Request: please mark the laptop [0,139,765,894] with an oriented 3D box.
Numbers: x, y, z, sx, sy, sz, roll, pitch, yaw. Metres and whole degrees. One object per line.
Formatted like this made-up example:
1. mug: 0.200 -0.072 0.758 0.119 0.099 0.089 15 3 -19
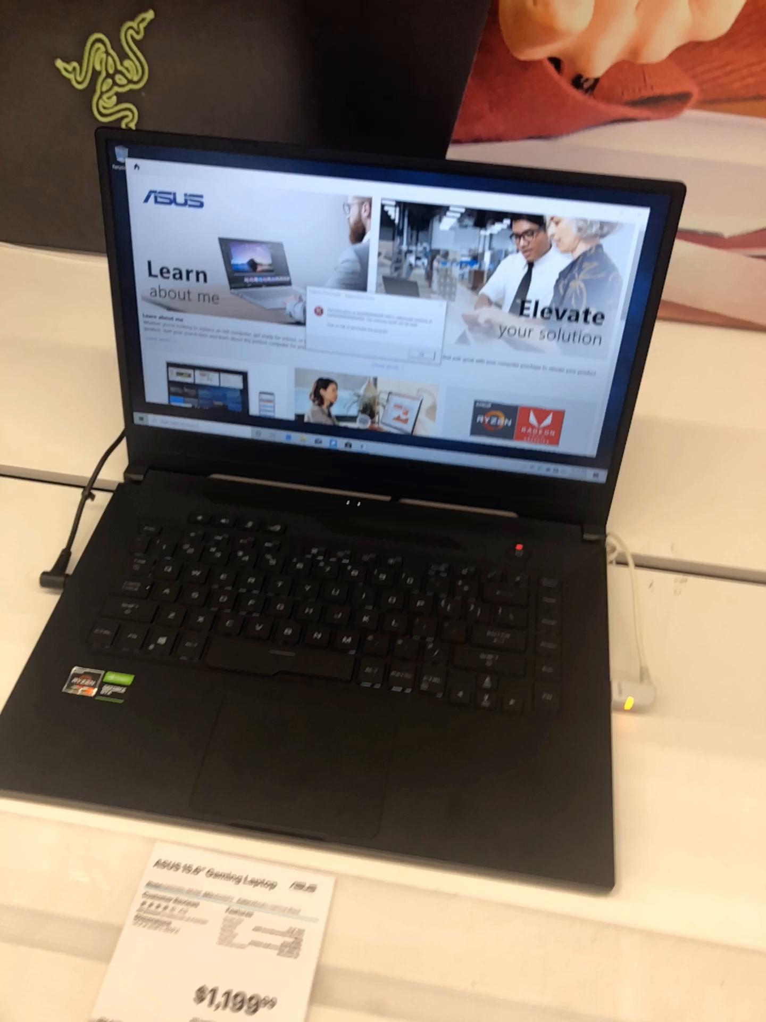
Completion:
1. laptop: -0.028 -0.015 0.464 0.351 0.222 0.311 7 47 6
